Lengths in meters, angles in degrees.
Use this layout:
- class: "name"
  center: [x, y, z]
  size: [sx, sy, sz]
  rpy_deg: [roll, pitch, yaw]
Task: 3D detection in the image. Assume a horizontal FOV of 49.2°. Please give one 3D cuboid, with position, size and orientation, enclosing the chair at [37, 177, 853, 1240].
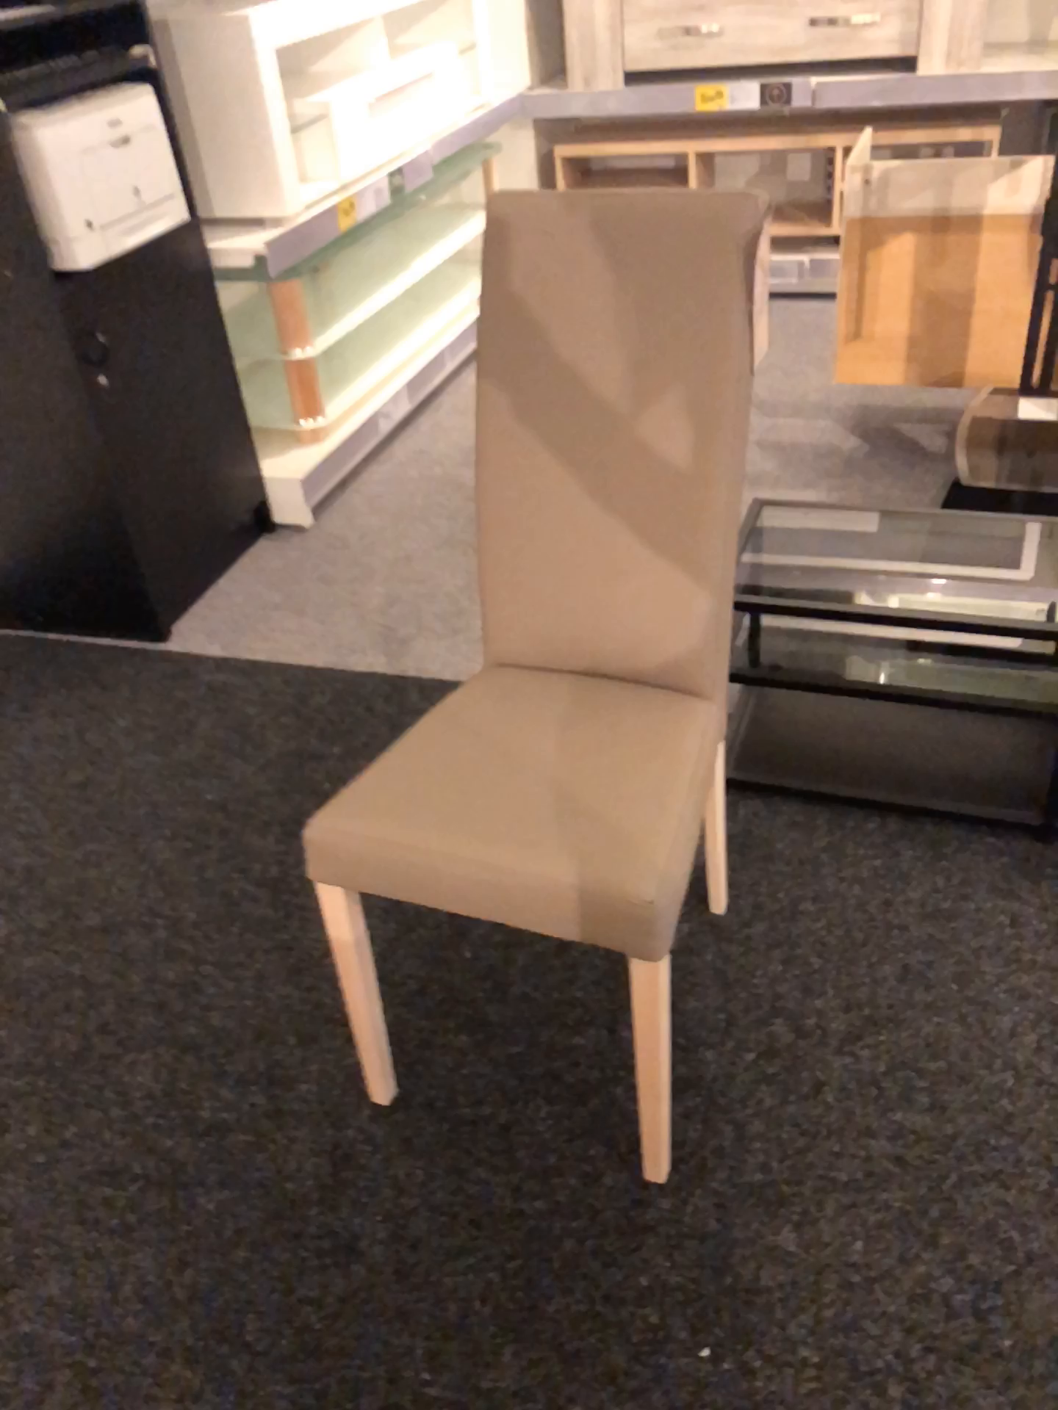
- class: "chair"
  center: [0.017, -0.021, 1.320]
  size: [0.530, 0.944, 0.634]
  rpy_deg: [9, 37, 21]
